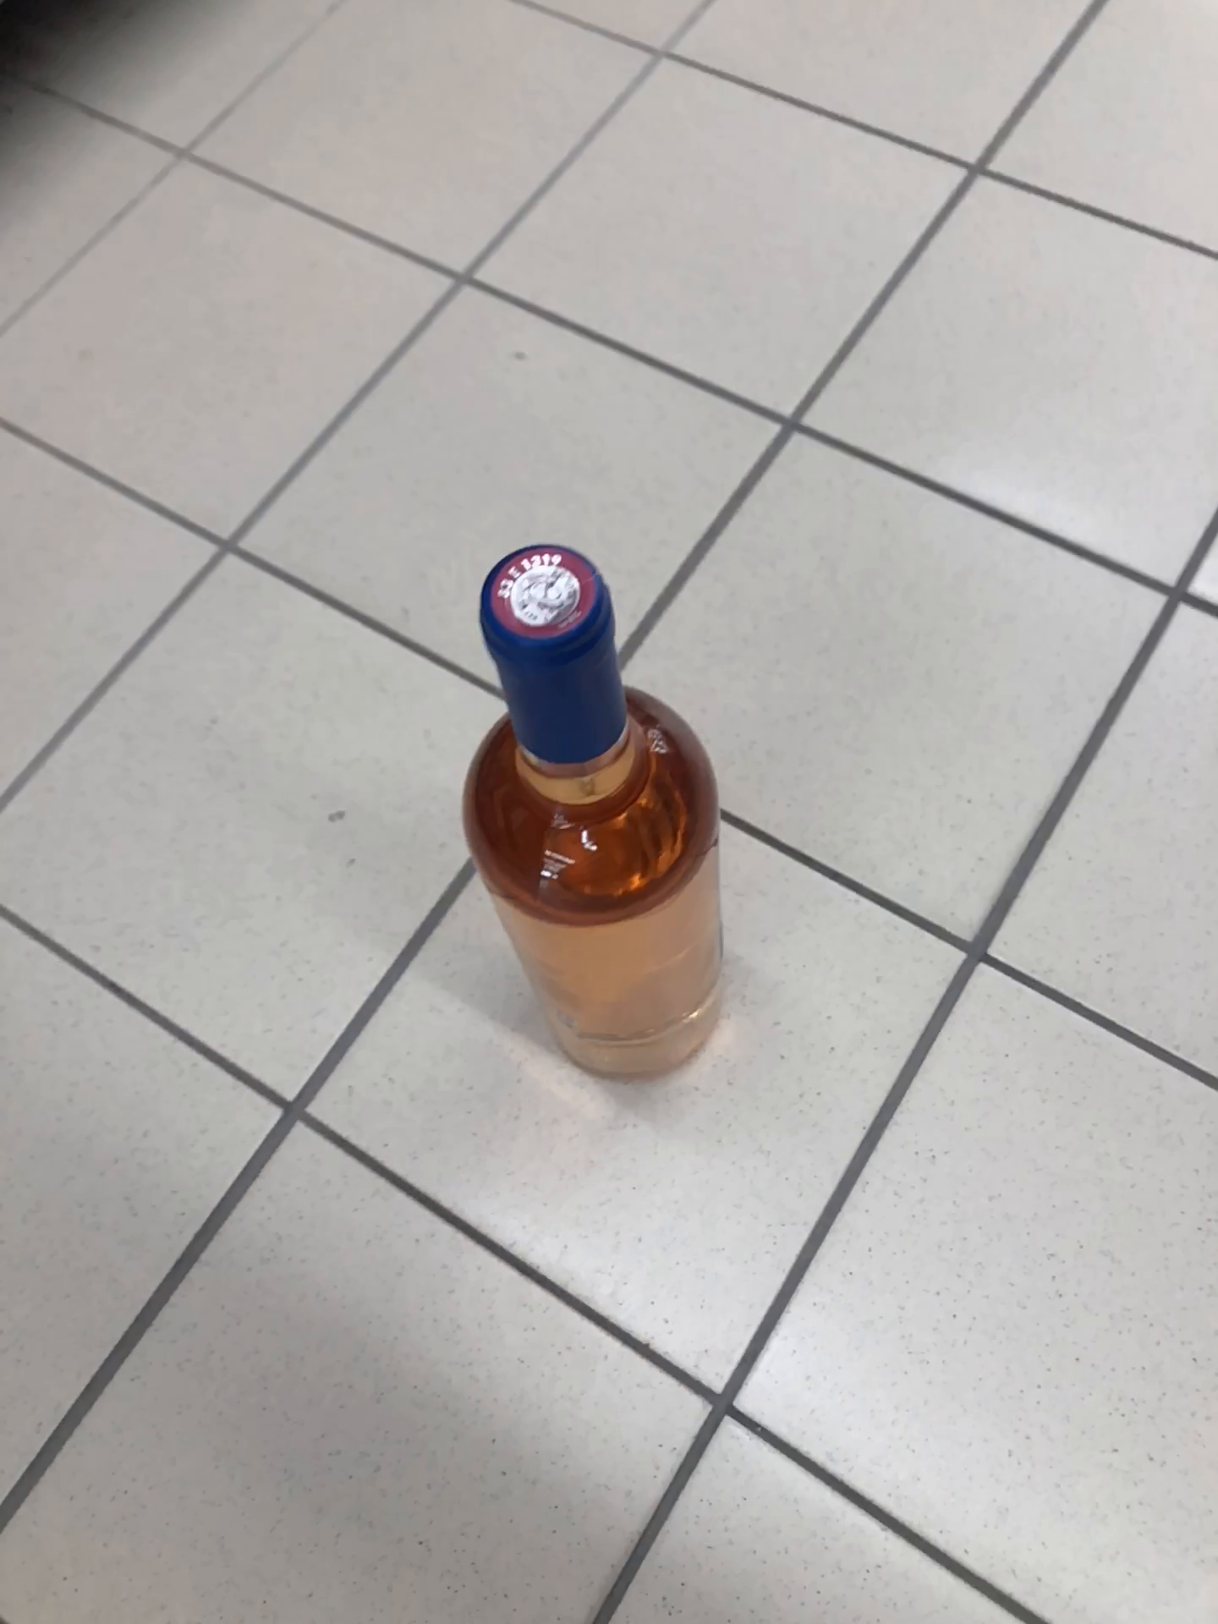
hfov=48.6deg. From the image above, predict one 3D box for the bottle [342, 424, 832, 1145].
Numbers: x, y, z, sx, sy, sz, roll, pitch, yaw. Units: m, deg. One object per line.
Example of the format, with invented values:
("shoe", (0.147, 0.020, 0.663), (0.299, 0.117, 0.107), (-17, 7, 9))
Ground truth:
("bottle", (0.004, 0.020, 0.420), (0.080, 0.289, 0.080), (-2, 65, 4))
